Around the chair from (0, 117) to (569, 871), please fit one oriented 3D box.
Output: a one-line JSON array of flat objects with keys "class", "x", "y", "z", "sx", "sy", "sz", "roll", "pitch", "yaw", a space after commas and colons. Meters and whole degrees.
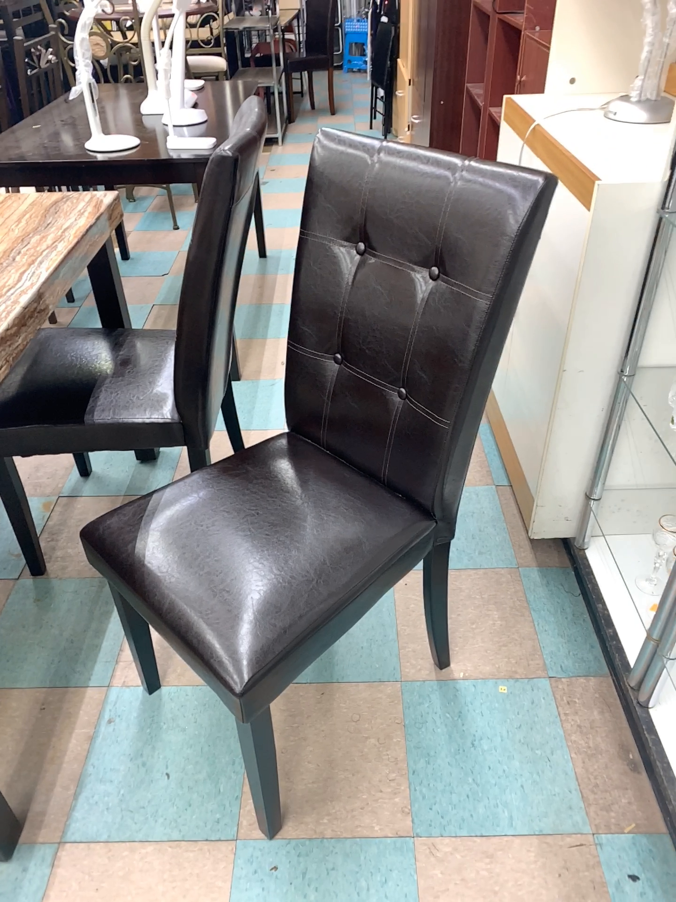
[{"class": "chair", "x": -0.068, "y": 0.058, "z": 1.088, "sx": 0.574, "sy": 0.939, "sz": 0.470, "roll": -30, "pitch": 44, "yaw": -32}]
